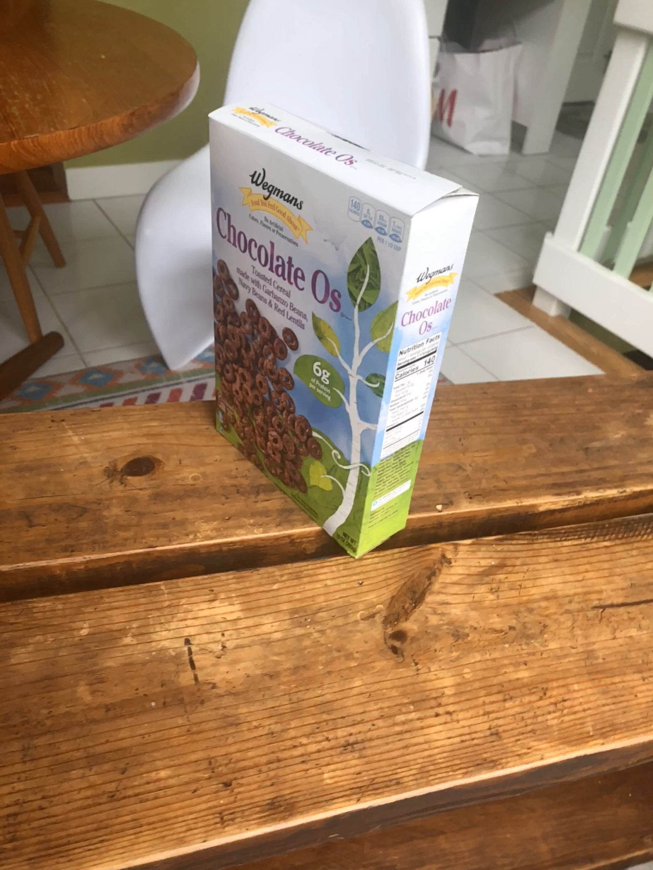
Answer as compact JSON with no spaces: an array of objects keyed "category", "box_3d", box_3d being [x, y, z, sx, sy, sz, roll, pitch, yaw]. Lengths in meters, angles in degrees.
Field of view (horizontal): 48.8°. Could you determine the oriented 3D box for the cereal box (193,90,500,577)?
[{"category":"cereal box","box_3d":[-0.008,-0.069,0.518,0.060,0.278,0.211,-25,48,-33]}]
